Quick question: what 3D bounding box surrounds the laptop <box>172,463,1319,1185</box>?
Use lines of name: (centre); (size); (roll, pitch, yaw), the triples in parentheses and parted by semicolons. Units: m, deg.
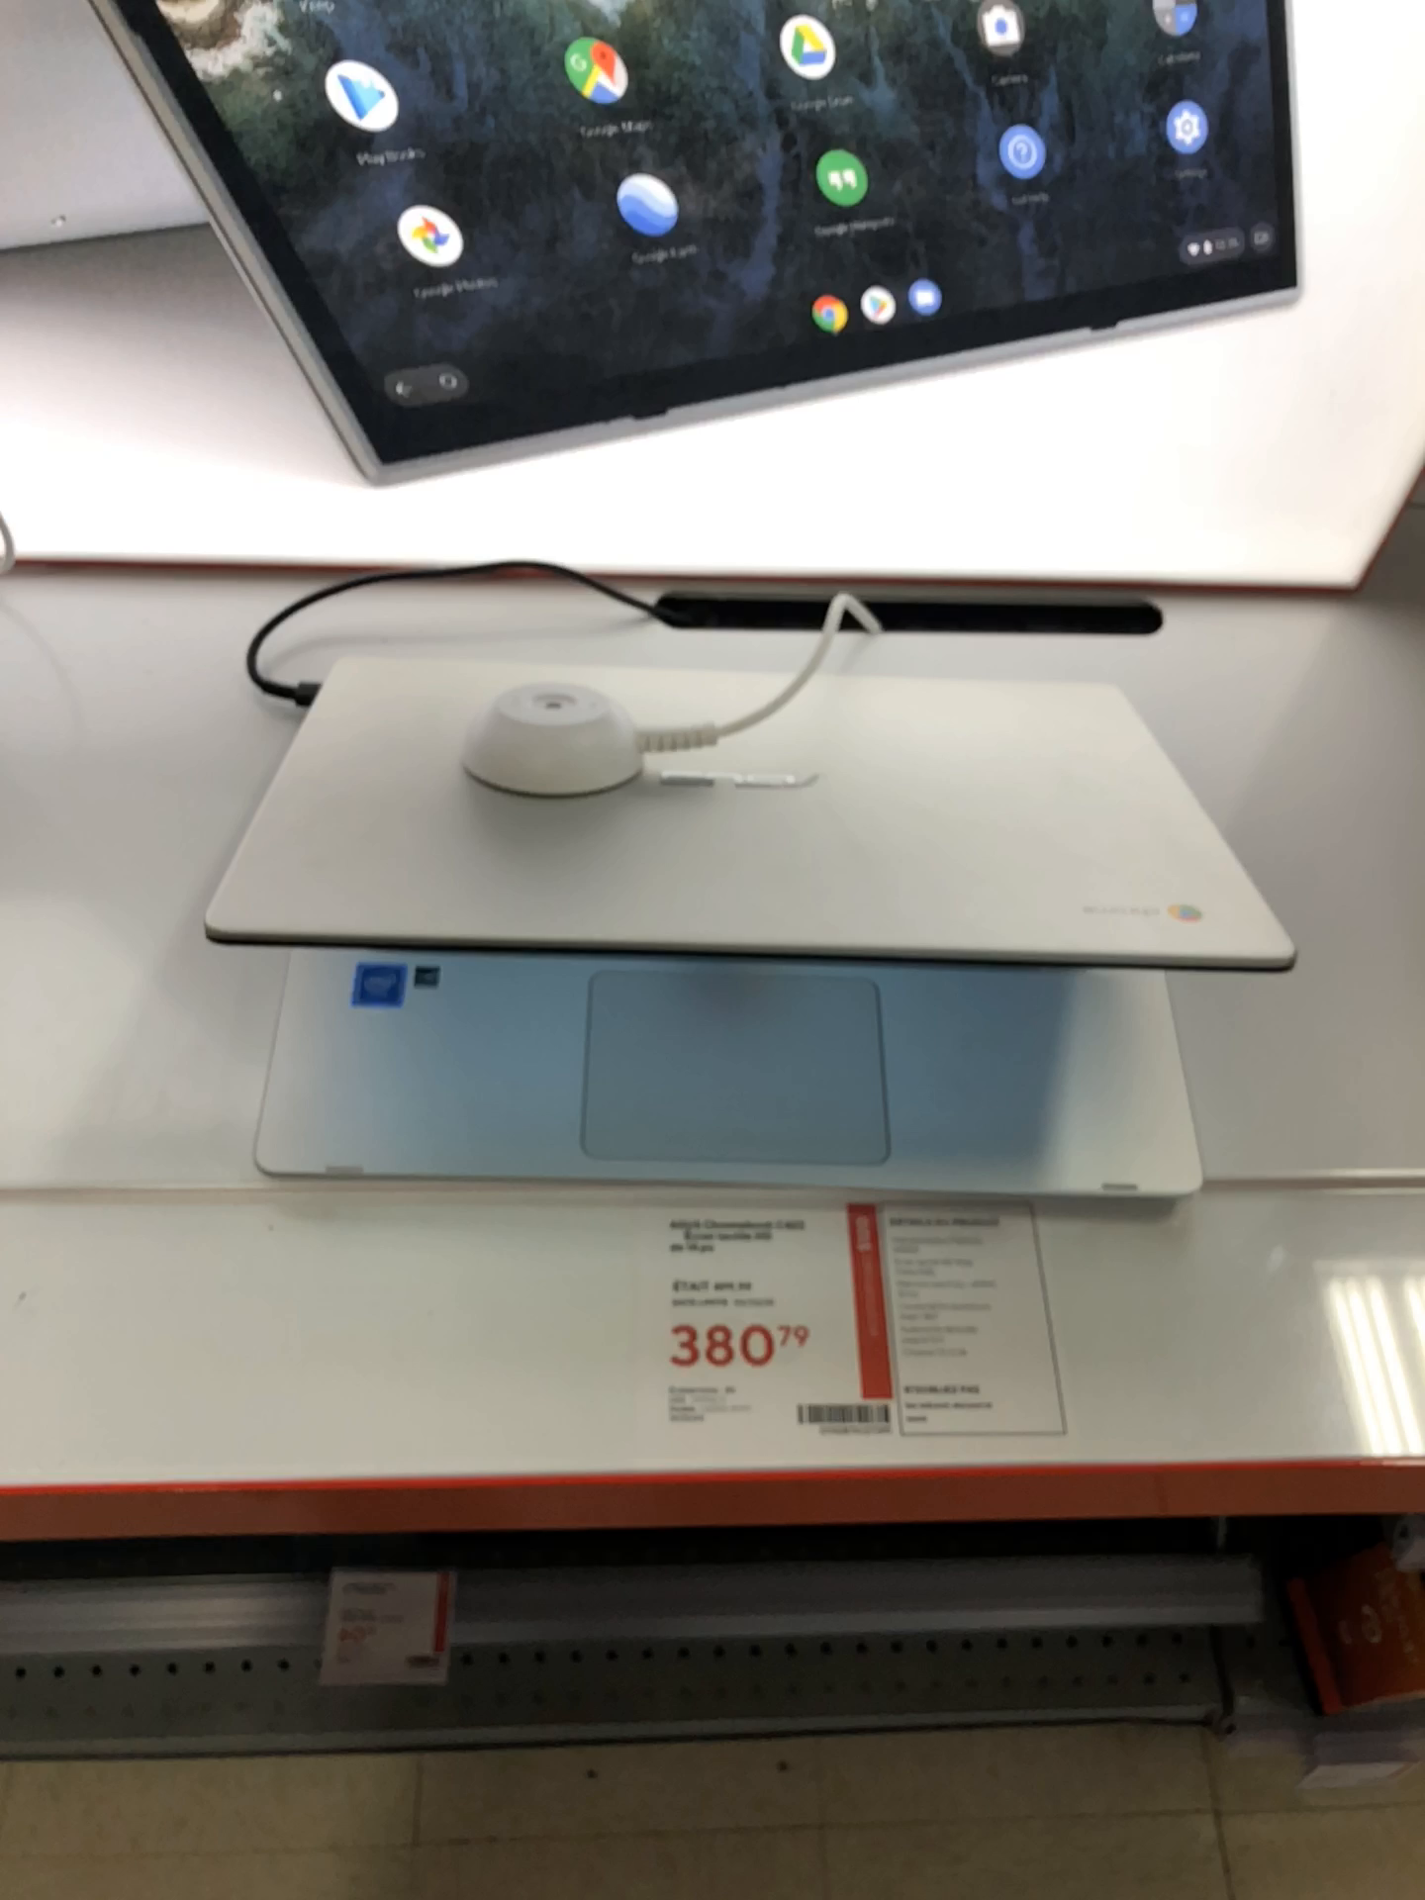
laptop: (0.010, -0.046, 0.541); (0.317, 0.101, 0.225); (2, 56, -3)
